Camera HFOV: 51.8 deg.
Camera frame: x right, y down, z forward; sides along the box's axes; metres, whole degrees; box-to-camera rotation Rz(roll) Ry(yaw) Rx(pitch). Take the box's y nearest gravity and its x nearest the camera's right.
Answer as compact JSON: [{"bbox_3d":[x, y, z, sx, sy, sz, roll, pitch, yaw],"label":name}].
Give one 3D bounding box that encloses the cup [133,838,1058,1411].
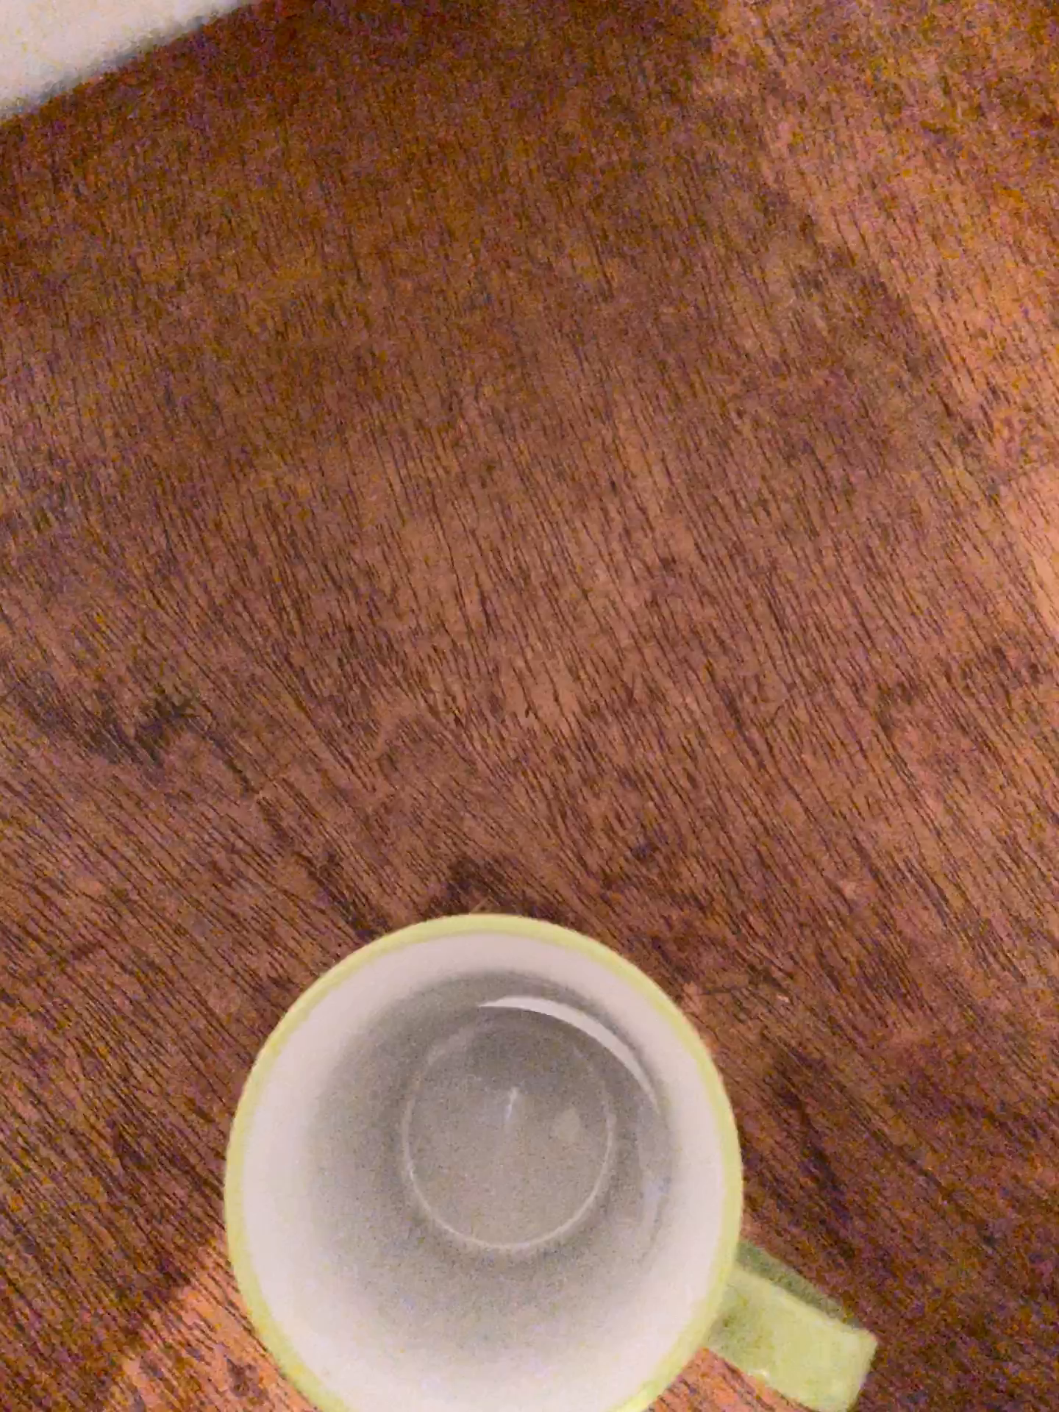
[{"bbox_3d":[0.014,0.098,0.216,0.120,0.100,0.090,19,74,8],"label":"cup"}]
